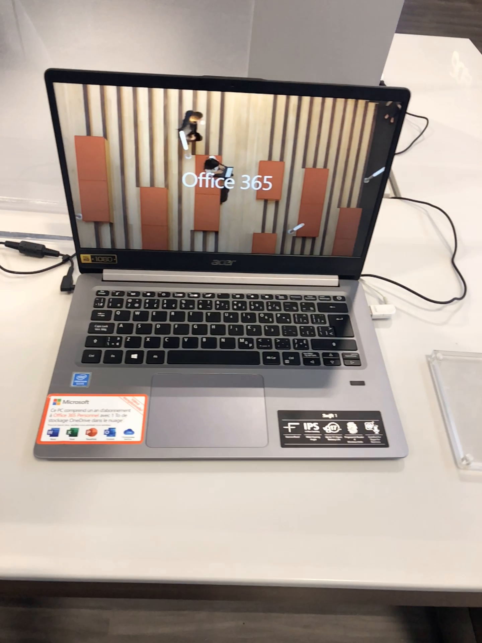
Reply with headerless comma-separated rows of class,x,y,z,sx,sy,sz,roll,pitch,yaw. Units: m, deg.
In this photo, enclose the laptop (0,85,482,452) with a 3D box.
laptop,-0.005,-0.043,0.455,0.306,0.205,0.225,1,47,-5
